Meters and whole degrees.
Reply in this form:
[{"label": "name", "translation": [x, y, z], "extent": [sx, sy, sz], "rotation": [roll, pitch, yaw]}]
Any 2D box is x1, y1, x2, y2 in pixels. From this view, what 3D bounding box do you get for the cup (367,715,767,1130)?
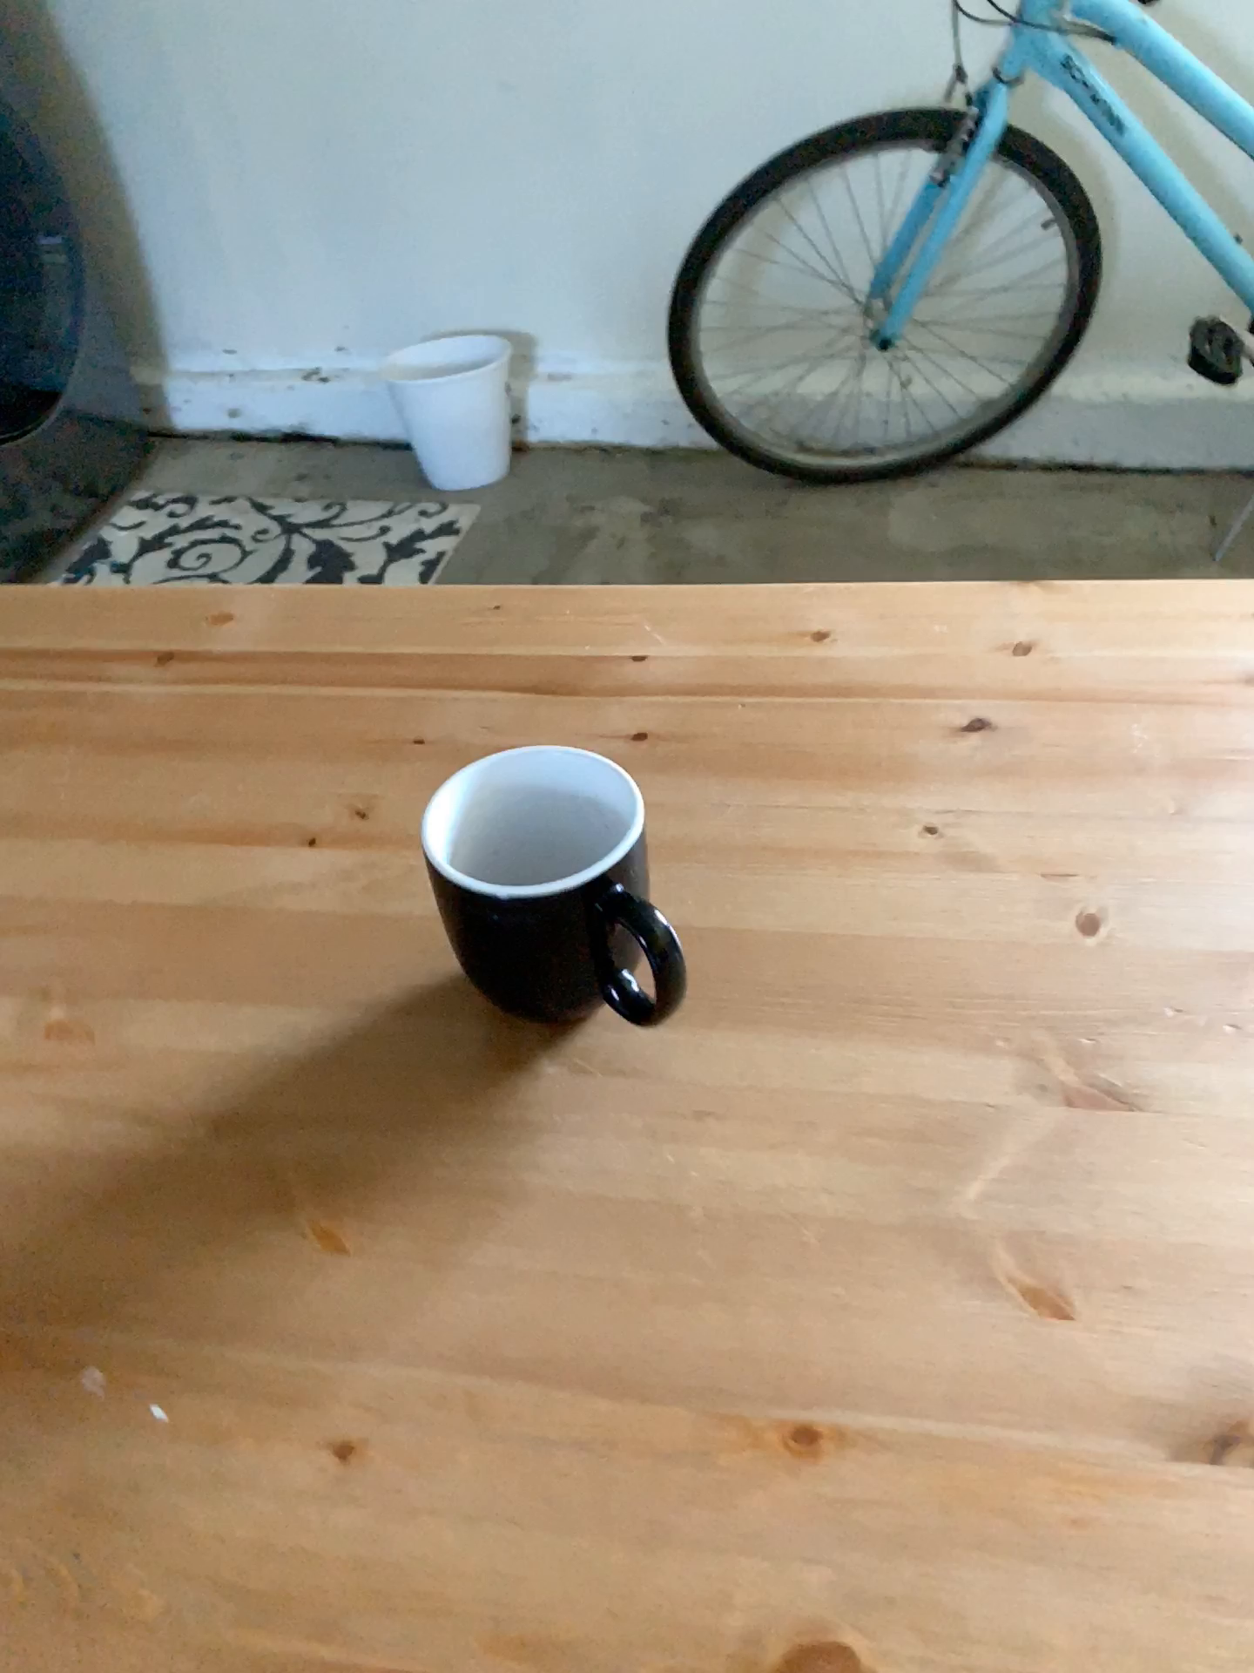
[{"label": "cup", "translation": [-0.024, 0.035, 0.586], "extent": [0.141, 0.100, 0.100], "rotation": [29, 54, 33]}]
